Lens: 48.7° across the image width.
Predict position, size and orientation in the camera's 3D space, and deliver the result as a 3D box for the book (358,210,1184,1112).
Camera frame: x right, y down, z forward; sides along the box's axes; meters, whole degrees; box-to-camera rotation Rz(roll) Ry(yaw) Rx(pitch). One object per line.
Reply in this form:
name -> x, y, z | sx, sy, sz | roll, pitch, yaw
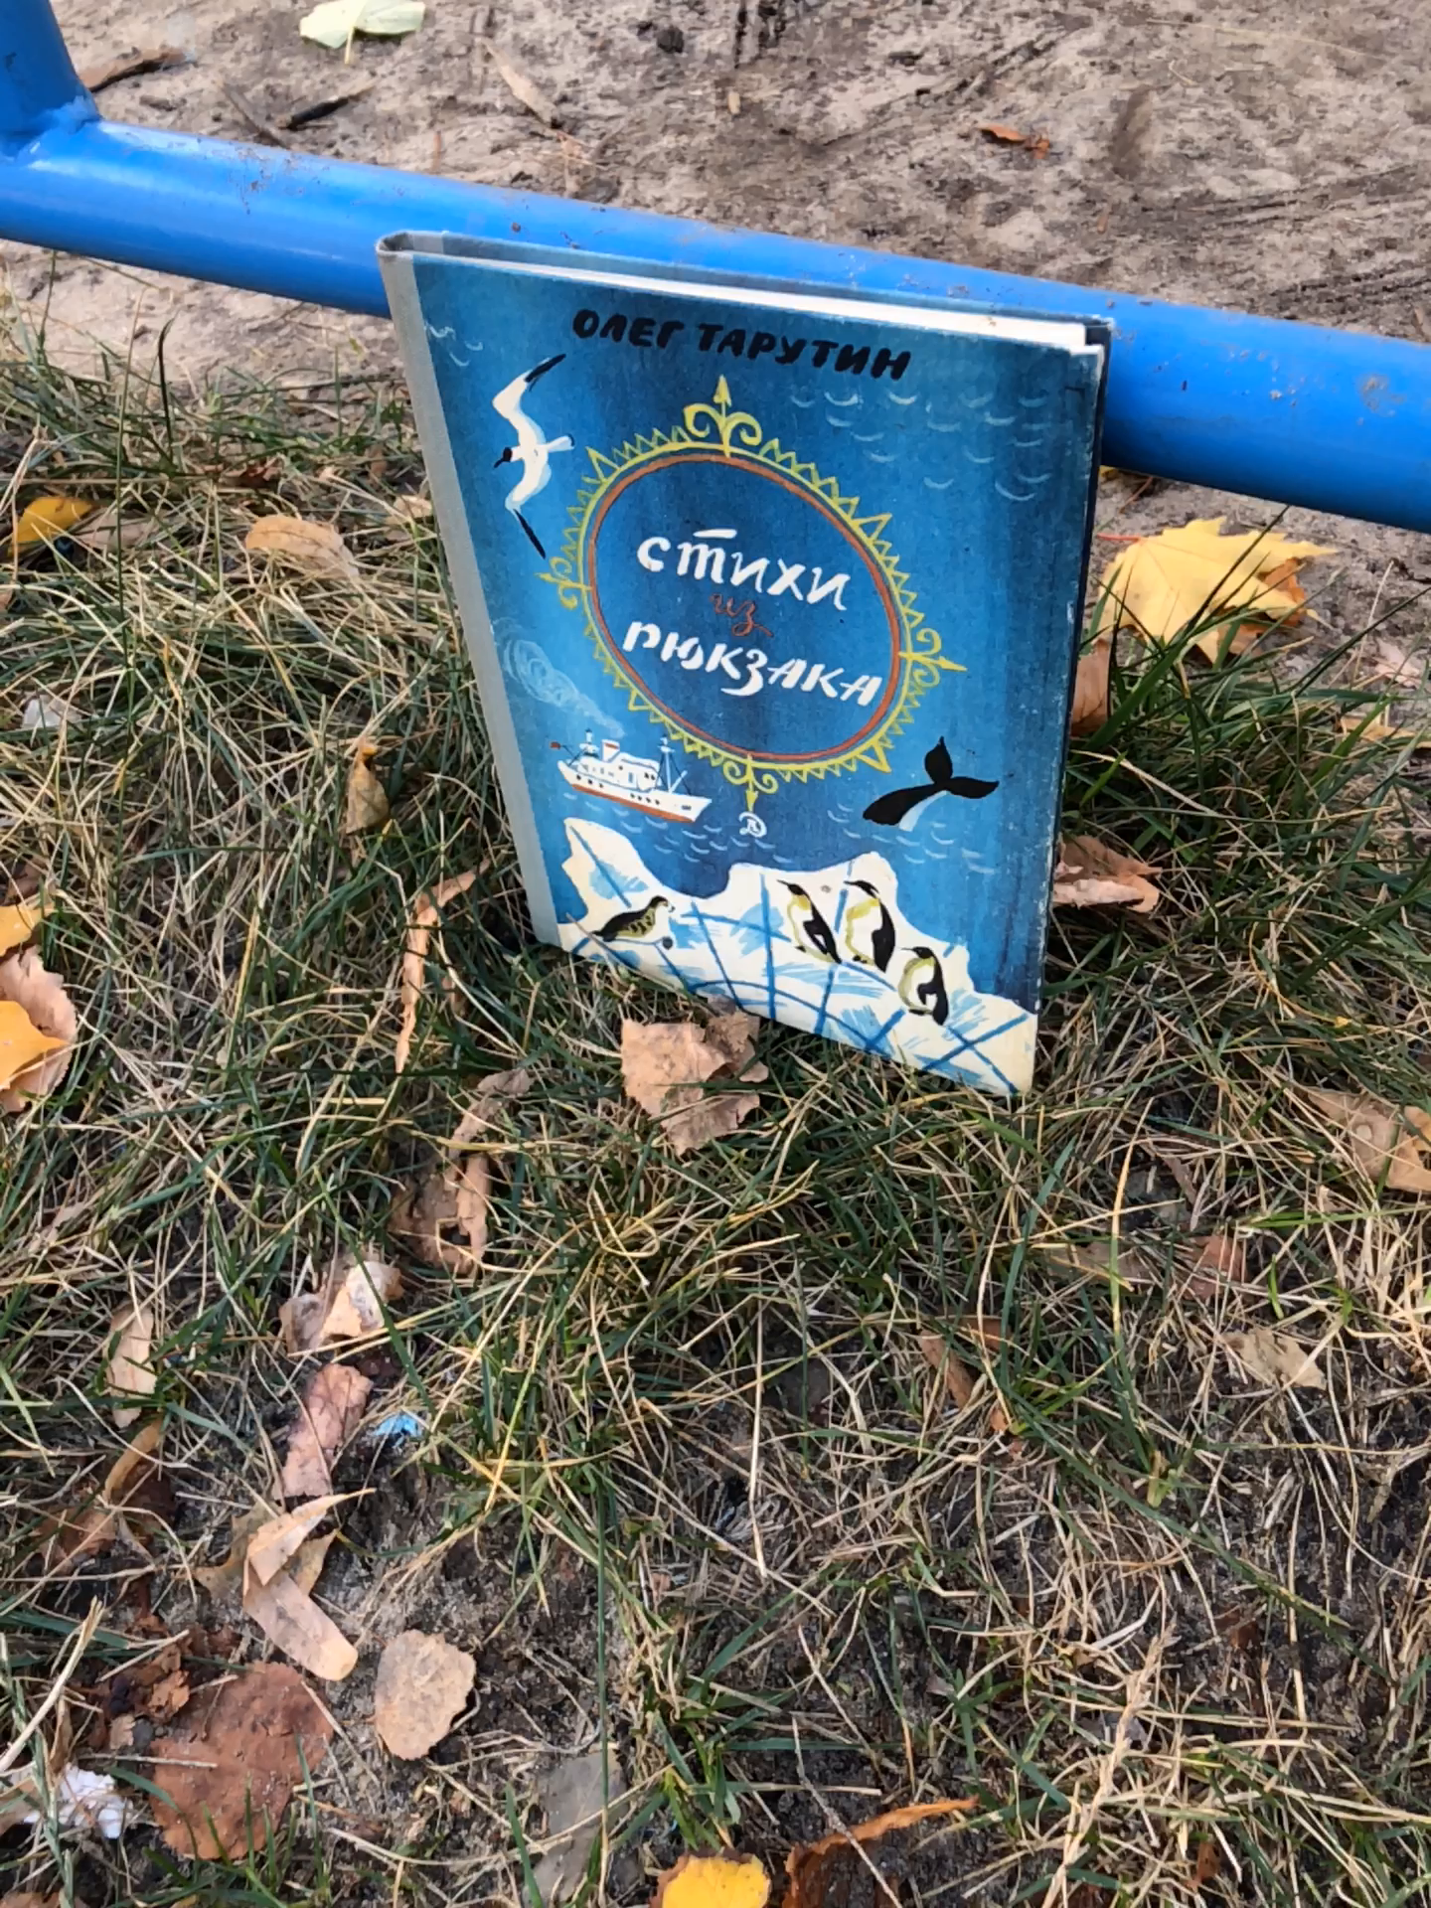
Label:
book -> 0.007, -0.064, 0.403 | 0.179, 0.209, 0.023 | 17, 46, 18
